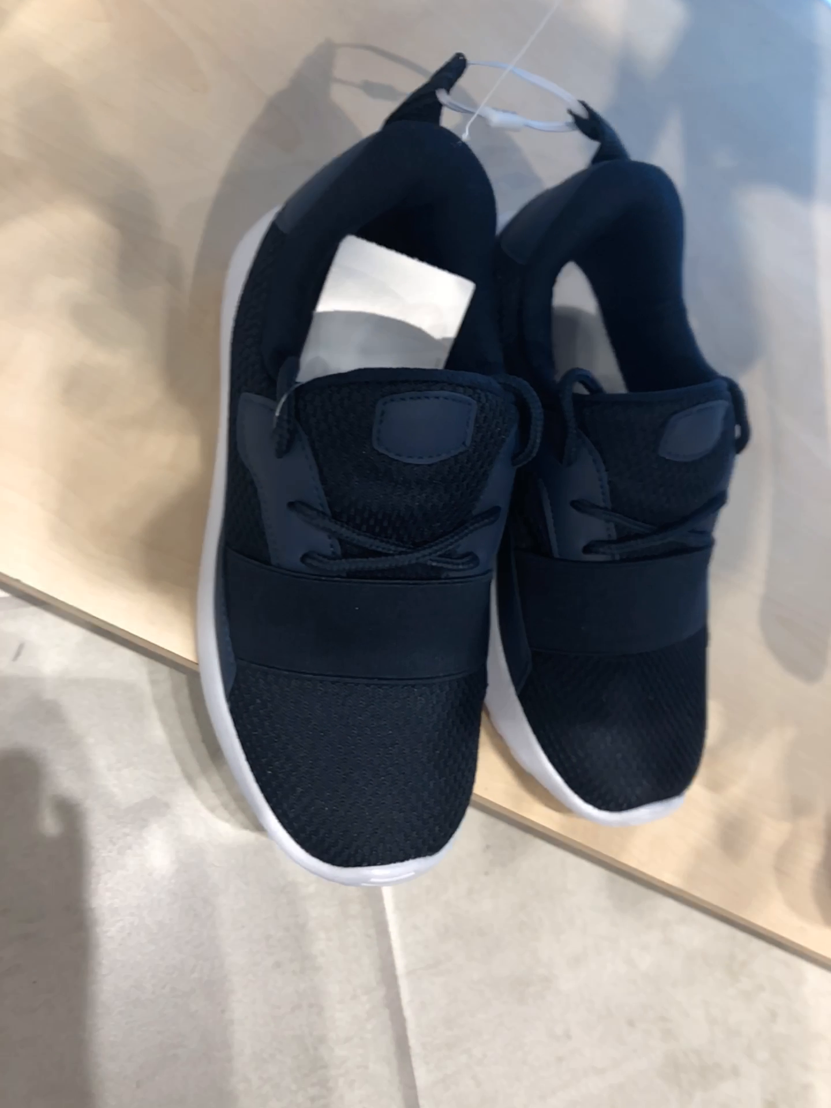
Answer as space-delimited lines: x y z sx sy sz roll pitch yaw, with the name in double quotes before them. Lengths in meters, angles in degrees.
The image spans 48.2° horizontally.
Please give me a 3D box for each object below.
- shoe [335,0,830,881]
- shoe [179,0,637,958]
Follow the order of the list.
"shoe" 0.056 -0.034 0.304 0.100 0.100 0.240 -6 81 -25
"shoe" -0.014 -0.023 0.278 0.090 0.100 0.240 1 78 -24
